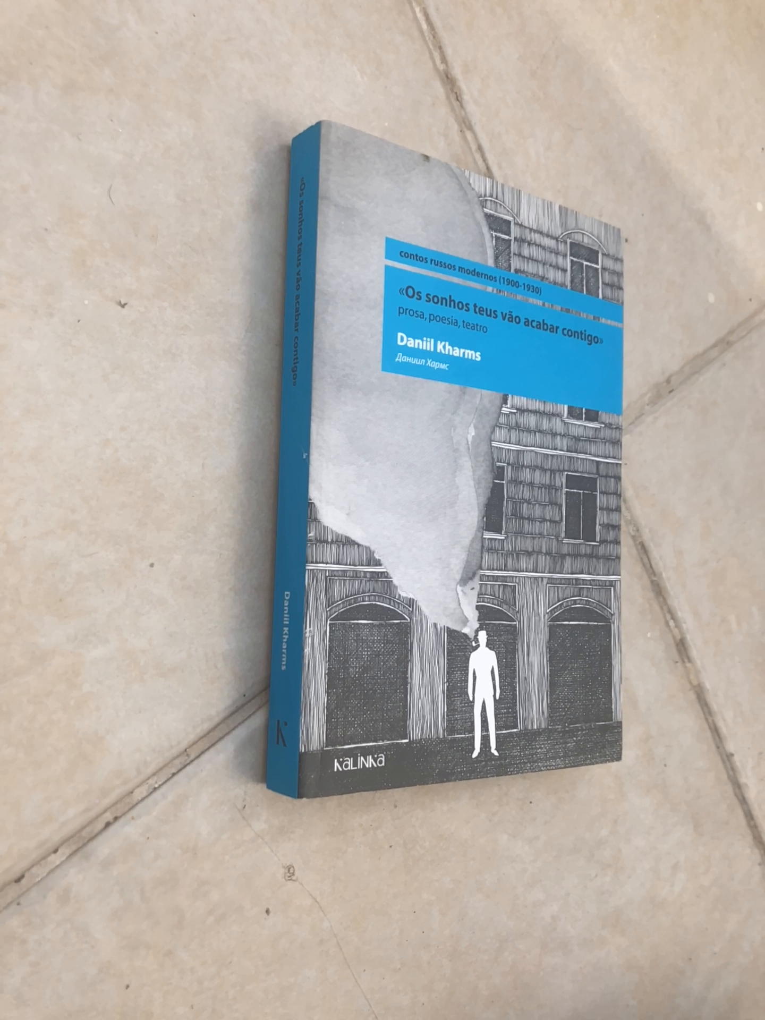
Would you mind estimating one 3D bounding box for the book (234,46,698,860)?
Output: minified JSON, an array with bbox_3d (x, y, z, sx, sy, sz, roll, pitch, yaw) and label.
[{"bbox_3d":[0.028,-0.010,0.226,0.121,0.040,0.170,5,84,-34],"label":"book"}]
